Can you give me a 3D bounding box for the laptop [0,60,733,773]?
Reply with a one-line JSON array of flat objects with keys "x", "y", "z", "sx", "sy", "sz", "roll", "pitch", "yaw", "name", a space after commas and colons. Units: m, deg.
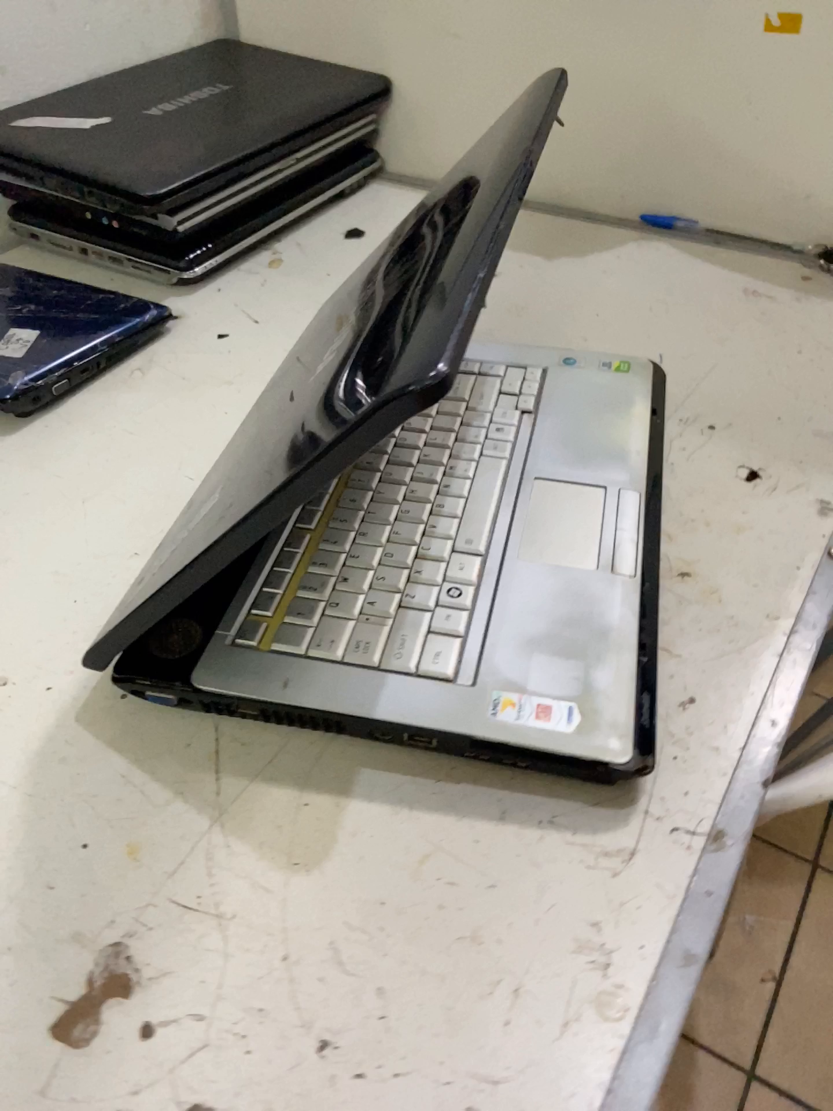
[{"x": 0.014, "y": -0.111, "z": 0.467, "sx": 0.256, "sy": 0.185, "sz": 0.358, "roll": 8, "pitch": 44, "yaw": 10, "name": "laptop"}]
